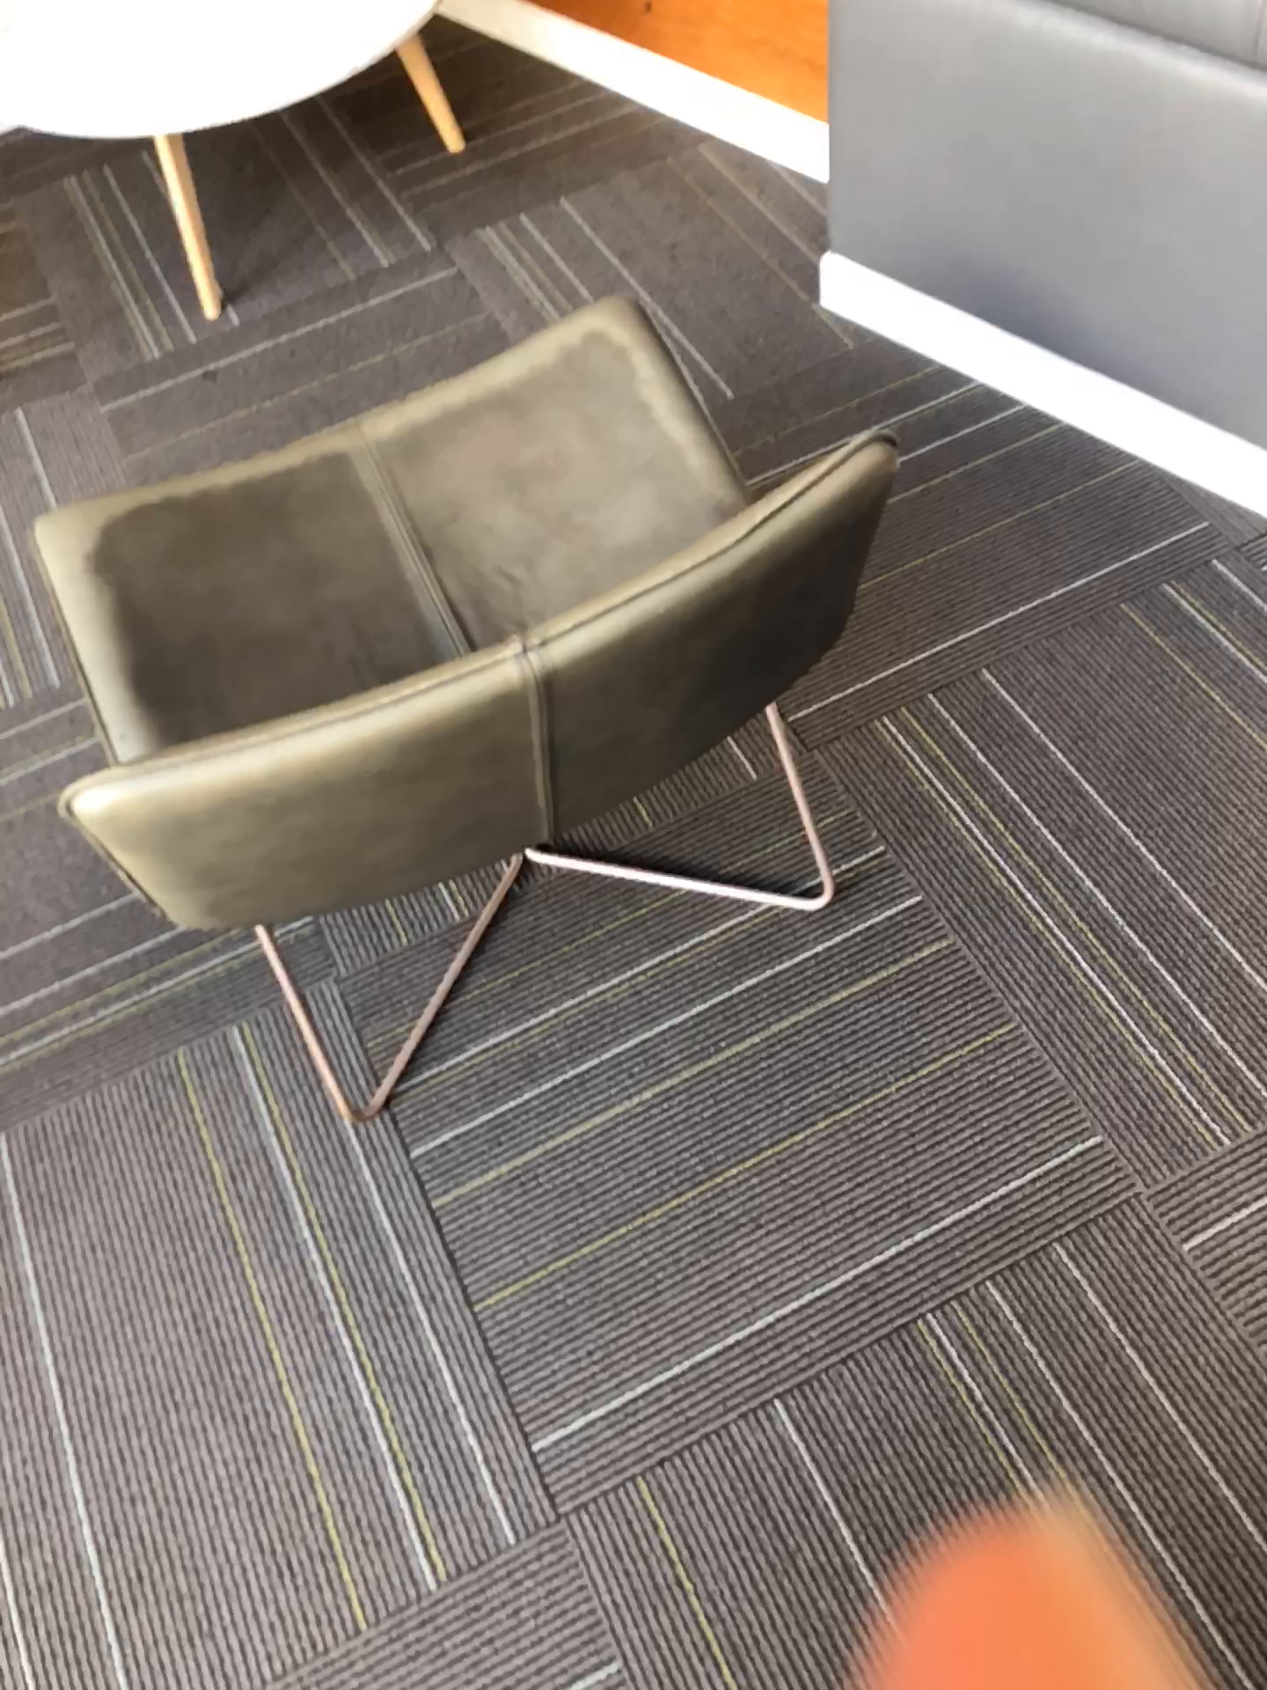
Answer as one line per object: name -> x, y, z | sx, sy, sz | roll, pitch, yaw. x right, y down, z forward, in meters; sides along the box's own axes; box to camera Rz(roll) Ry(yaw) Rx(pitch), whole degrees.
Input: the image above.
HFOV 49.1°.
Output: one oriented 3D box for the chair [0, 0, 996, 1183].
chair -> -0.200, -0.239, 1.302 | 0.670, 0.877, 0.652 | -24, 62, -9
